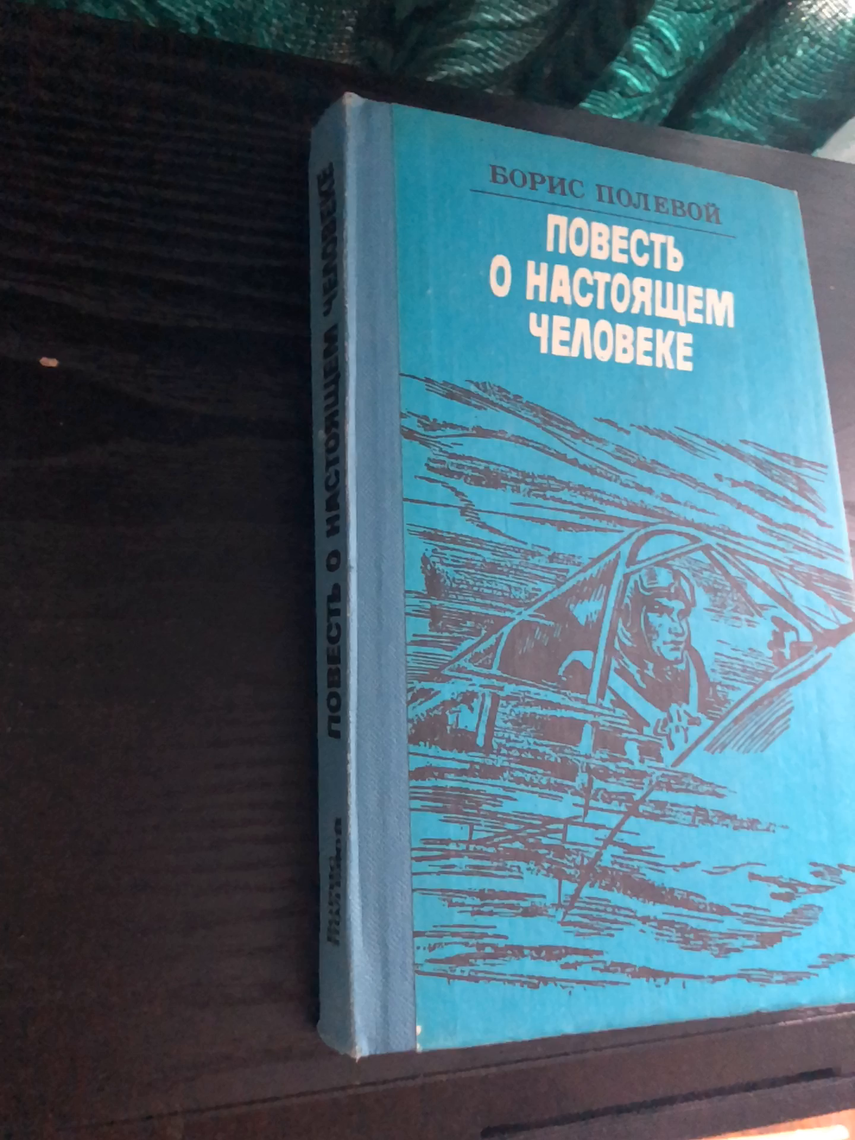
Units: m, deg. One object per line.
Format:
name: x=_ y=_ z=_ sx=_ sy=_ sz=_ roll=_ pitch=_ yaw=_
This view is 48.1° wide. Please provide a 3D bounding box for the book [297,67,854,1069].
book: x=0.035 y=-0.007 z=0.205 sx=0.123 sy=0.019 sz=0.190 roll=2 pitch=76 yaw=-19
